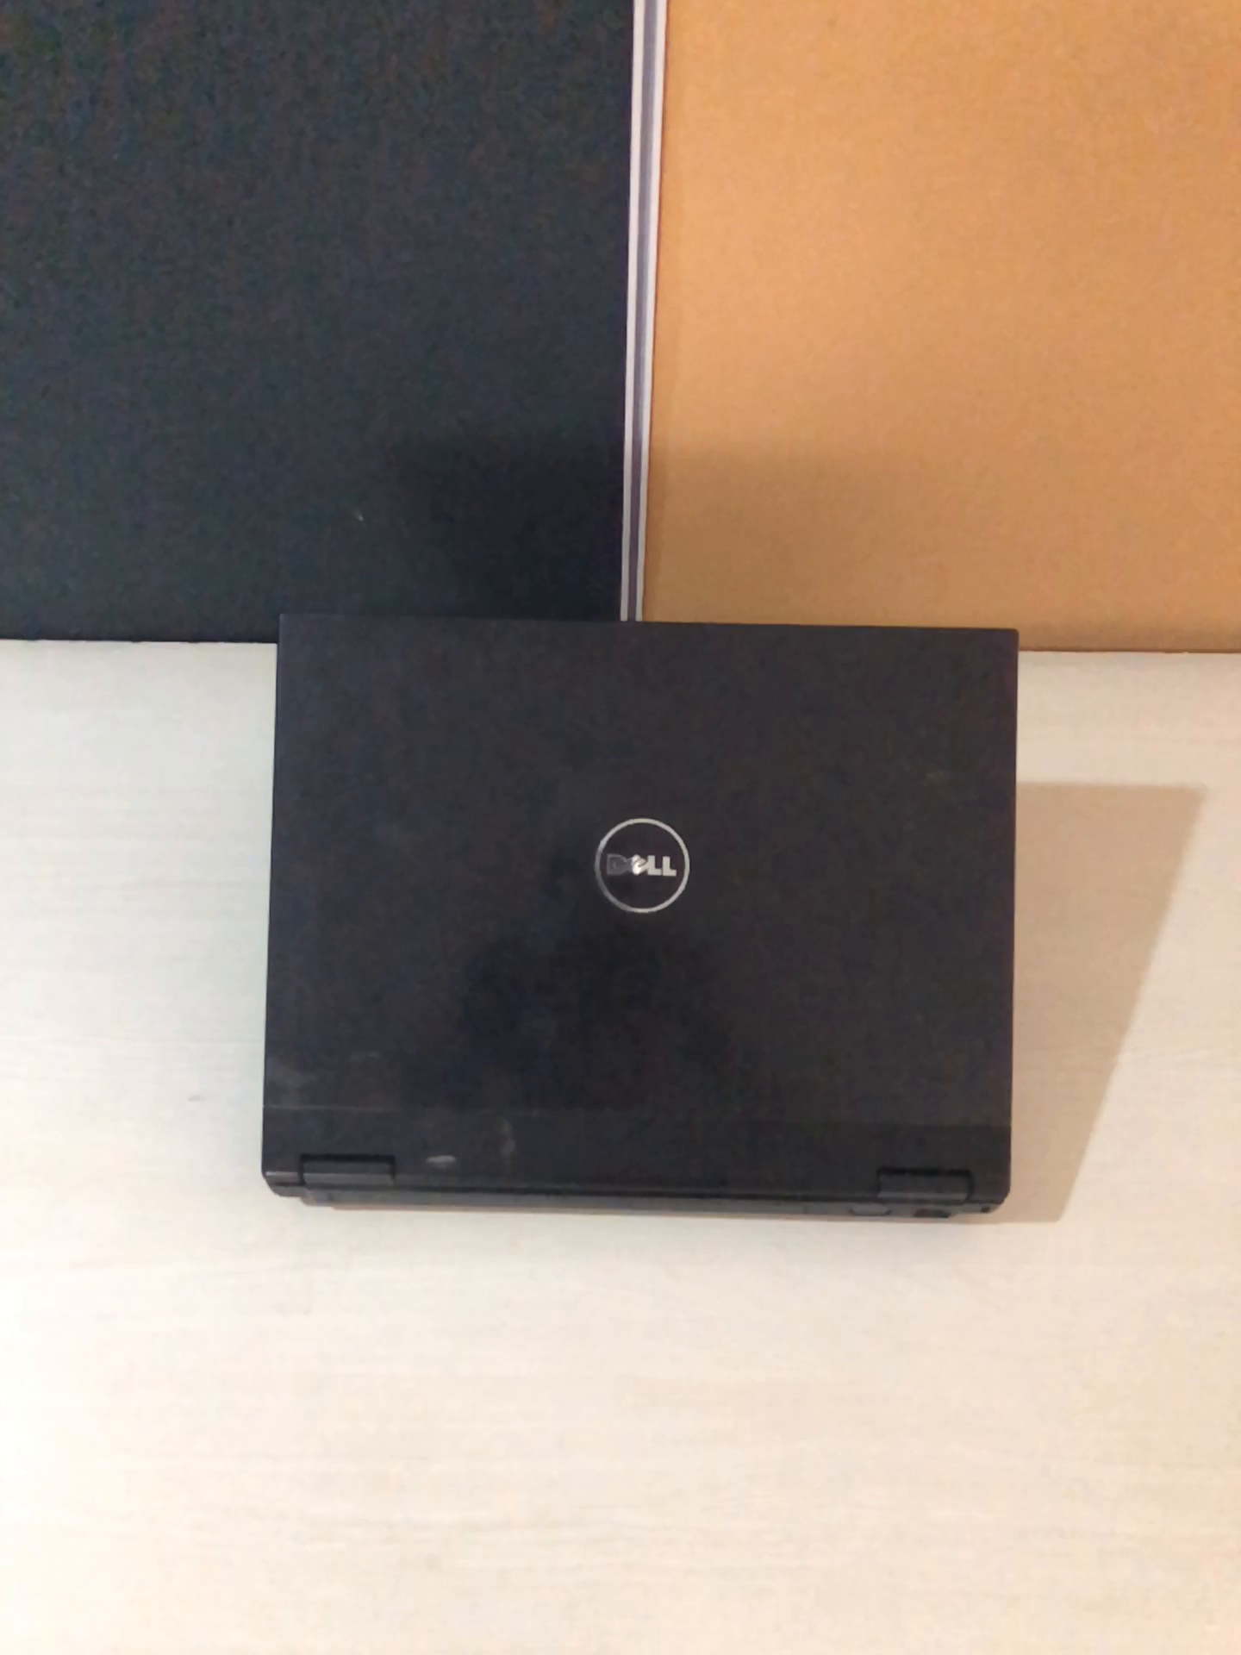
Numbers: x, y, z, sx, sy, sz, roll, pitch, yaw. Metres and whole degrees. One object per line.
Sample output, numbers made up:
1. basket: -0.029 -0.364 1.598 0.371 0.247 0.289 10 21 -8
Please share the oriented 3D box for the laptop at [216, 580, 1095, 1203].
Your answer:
1. laptop: 0.014 0.025 0.583 0.302 0.126 0.225 1 57 0
